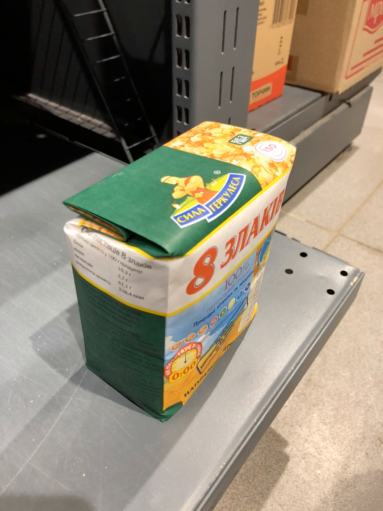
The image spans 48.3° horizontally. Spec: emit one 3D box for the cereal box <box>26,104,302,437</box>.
[{"bbox_3d":[-0.007,0.004,0.243,0.070,0.129,0.121,26,46,26],"label":"cereal box"}]
